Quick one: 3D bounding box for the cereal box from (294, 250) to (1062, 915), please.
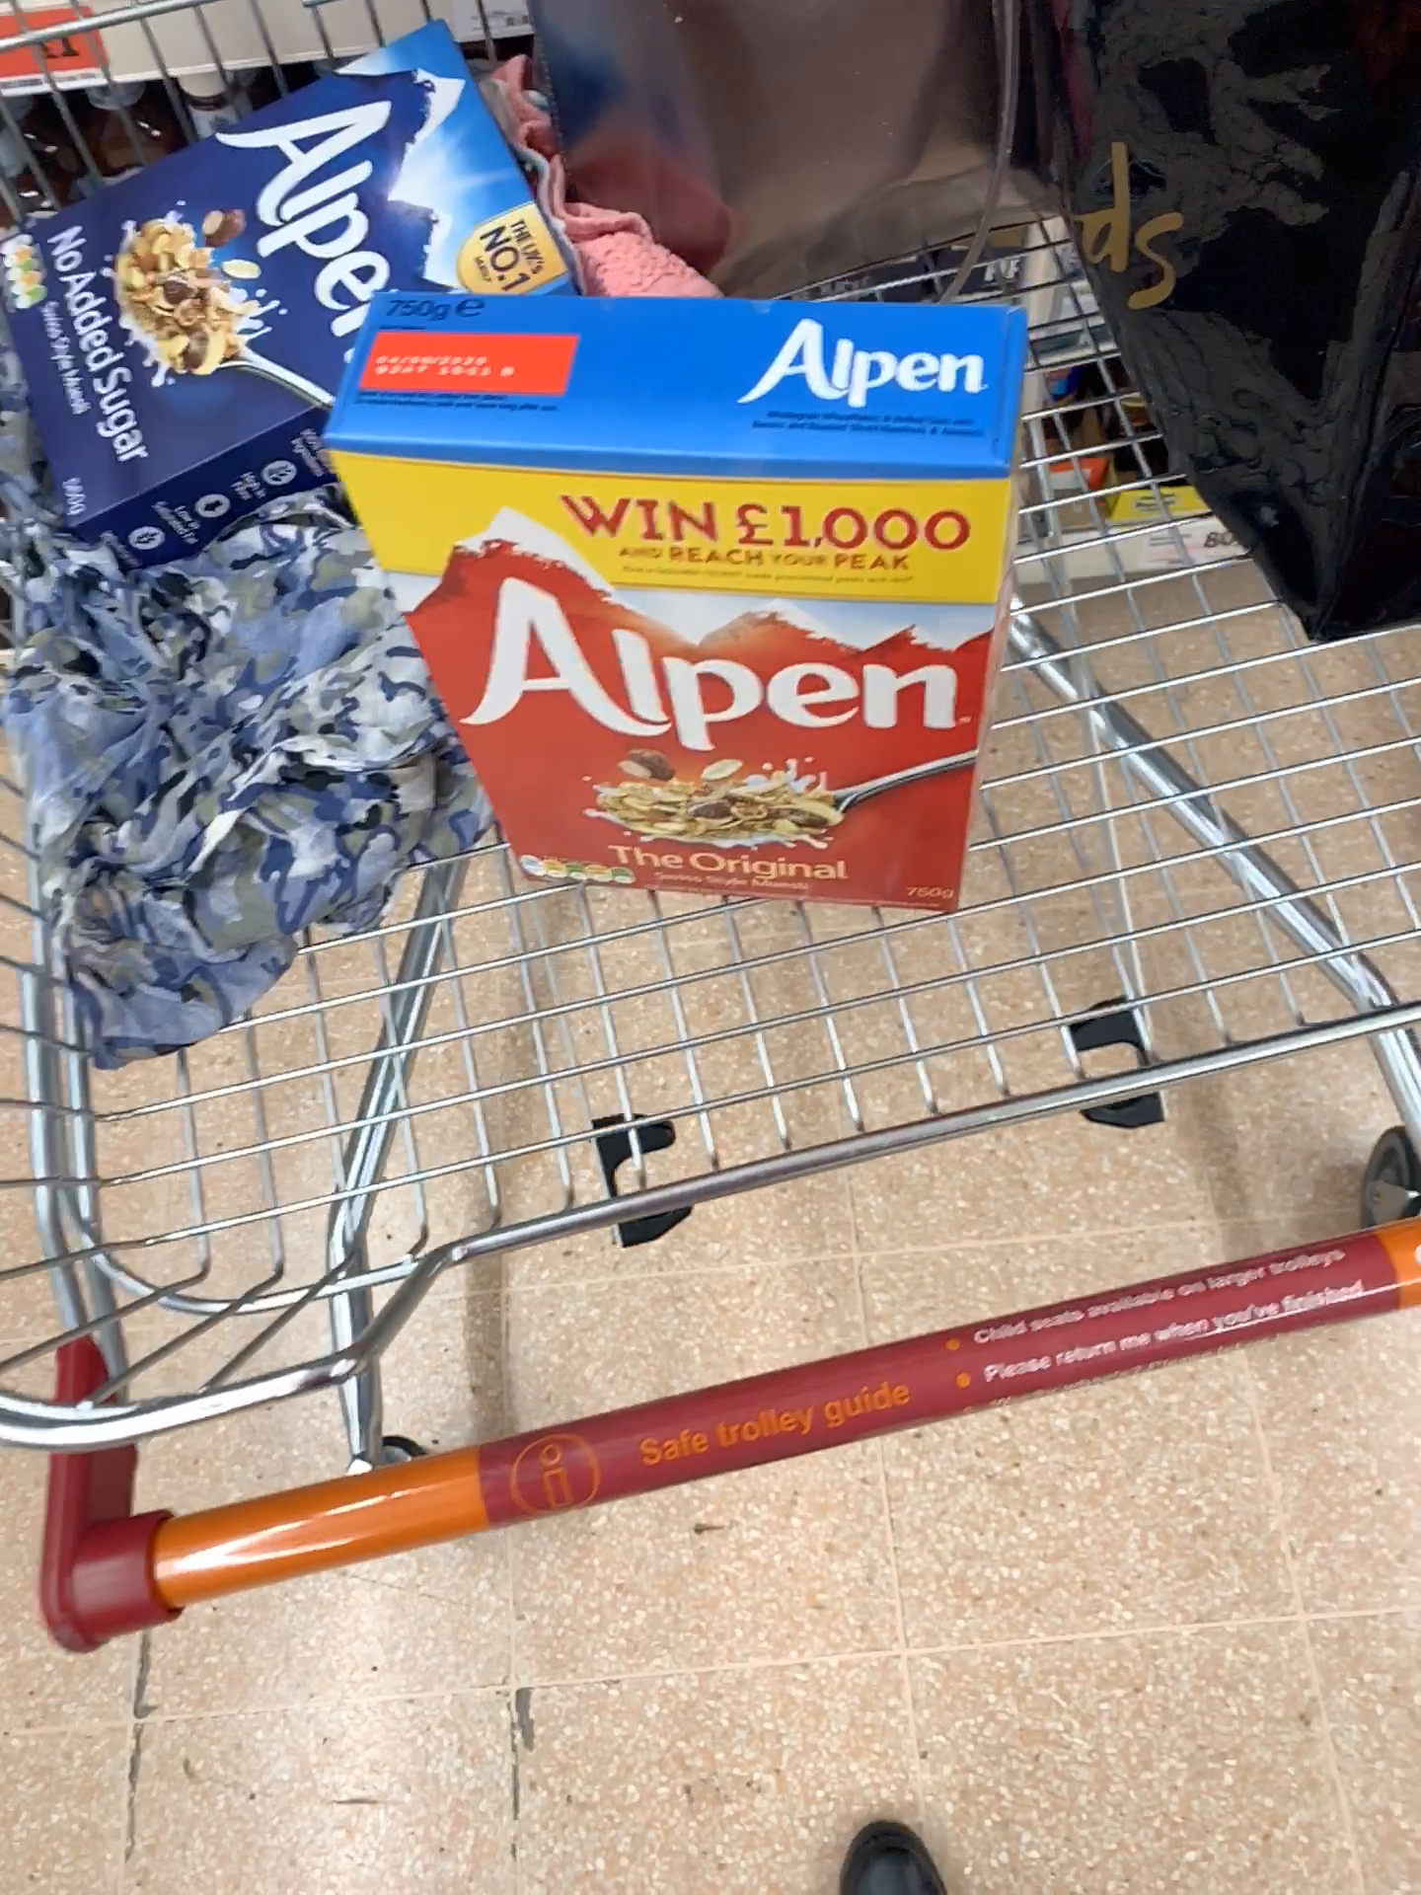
[{"bbox_3d":[0.001,-0.096,0.465,0.180,0.249,0.060,4,67,6],"label":"cereal box"}]
